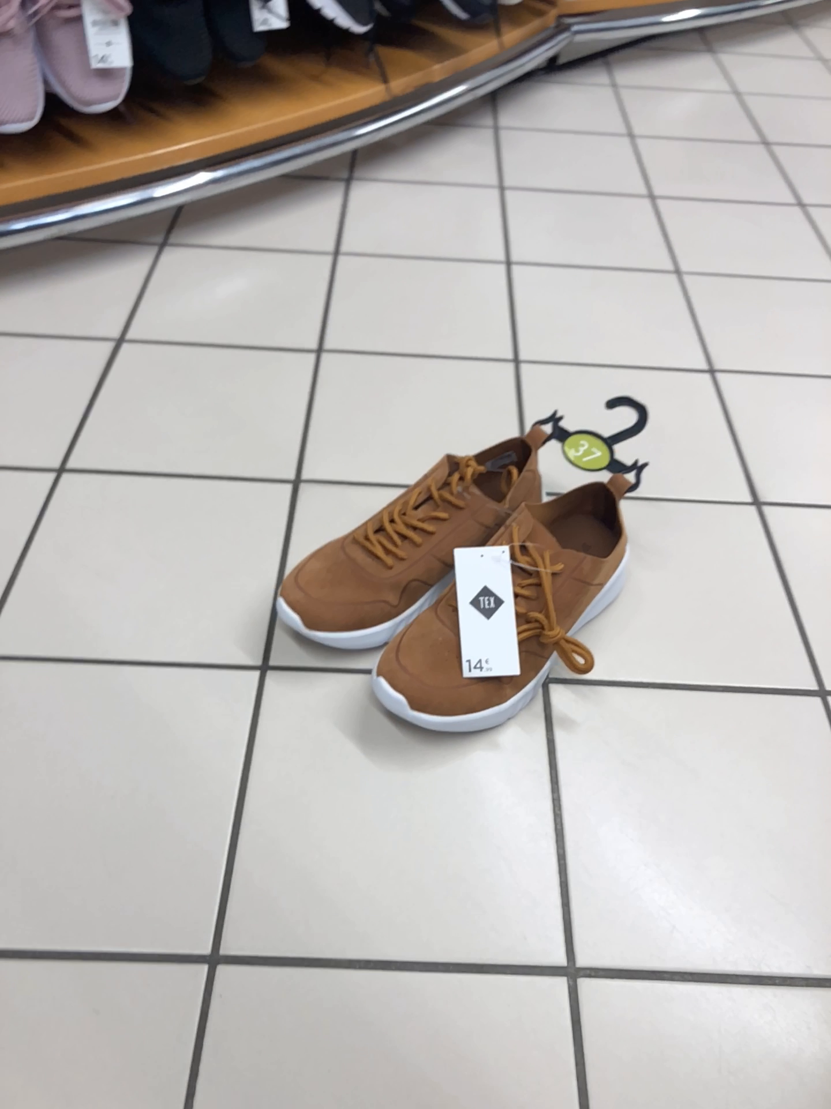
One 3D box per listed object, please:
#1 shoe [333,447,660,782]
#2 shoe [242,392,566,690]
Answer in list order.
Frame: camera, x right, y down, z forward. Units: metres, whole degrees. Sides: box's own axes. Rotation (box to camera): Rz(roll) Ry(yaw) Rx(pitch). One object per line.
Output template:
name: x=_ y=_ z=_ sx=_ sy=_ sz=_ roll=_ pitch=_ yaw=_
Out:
shoe: x=0.058 y=0.033 z=0.644 sx=0.090 sy=0.099 sz=0.231 roll=36 pitch=53 yaw=27
shoe: x=-0.005 y=-0.017 z=0.669 sx=0.221 sy=0.099 sz=0.090 roll=-31 pitch=55 yaw=-30
